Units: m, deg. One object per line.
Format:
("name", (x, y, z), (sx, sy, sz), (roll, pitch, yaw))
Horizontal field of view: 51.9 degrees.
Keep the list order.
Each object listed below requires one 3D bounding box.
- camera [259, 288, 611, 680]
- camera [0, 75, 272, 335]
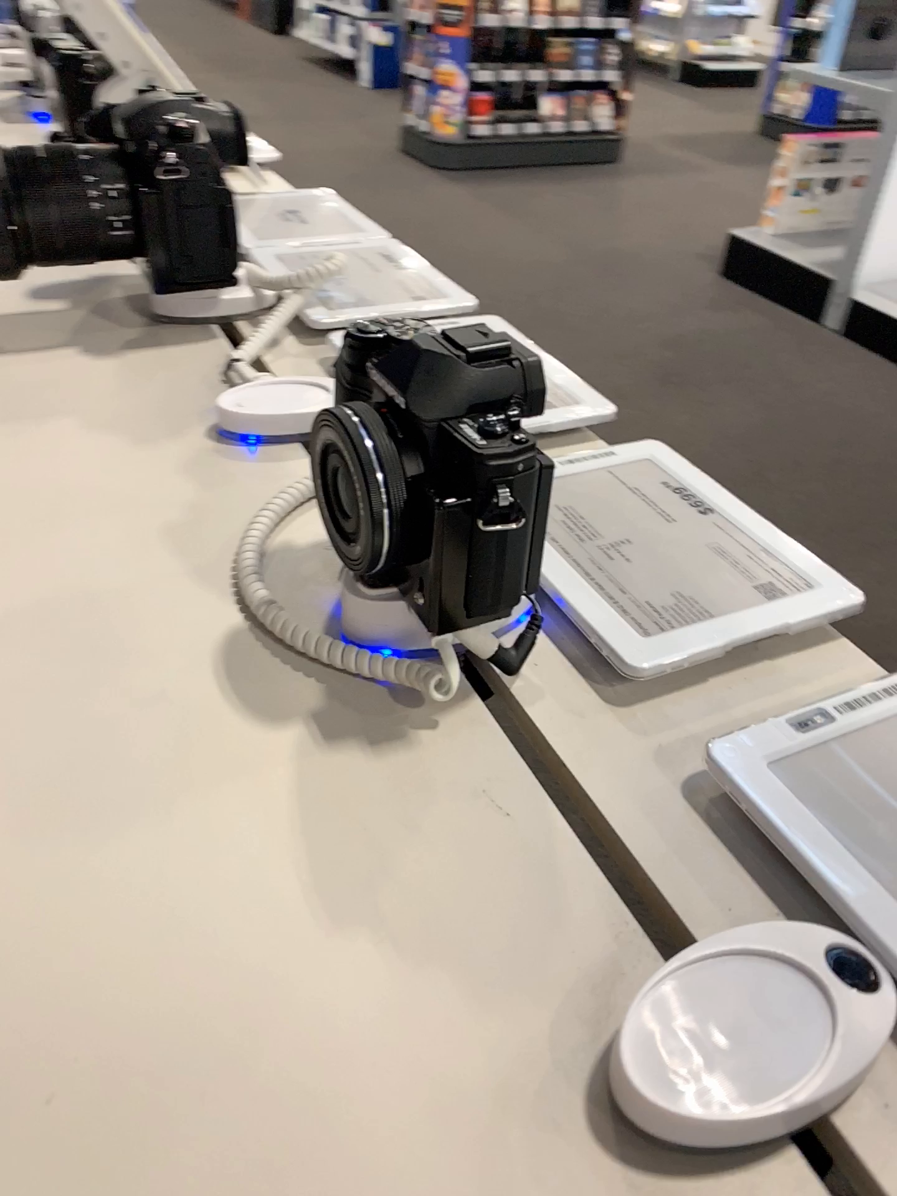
("camera", (-0.013, -0.050, 0.344), (0.070, 0.080, 0.131), (-16, 42, -24))
("camera", (-0.230, -0.248, 0.562), (0.200, 0.099, 0.141), (-16, 42, -24))
